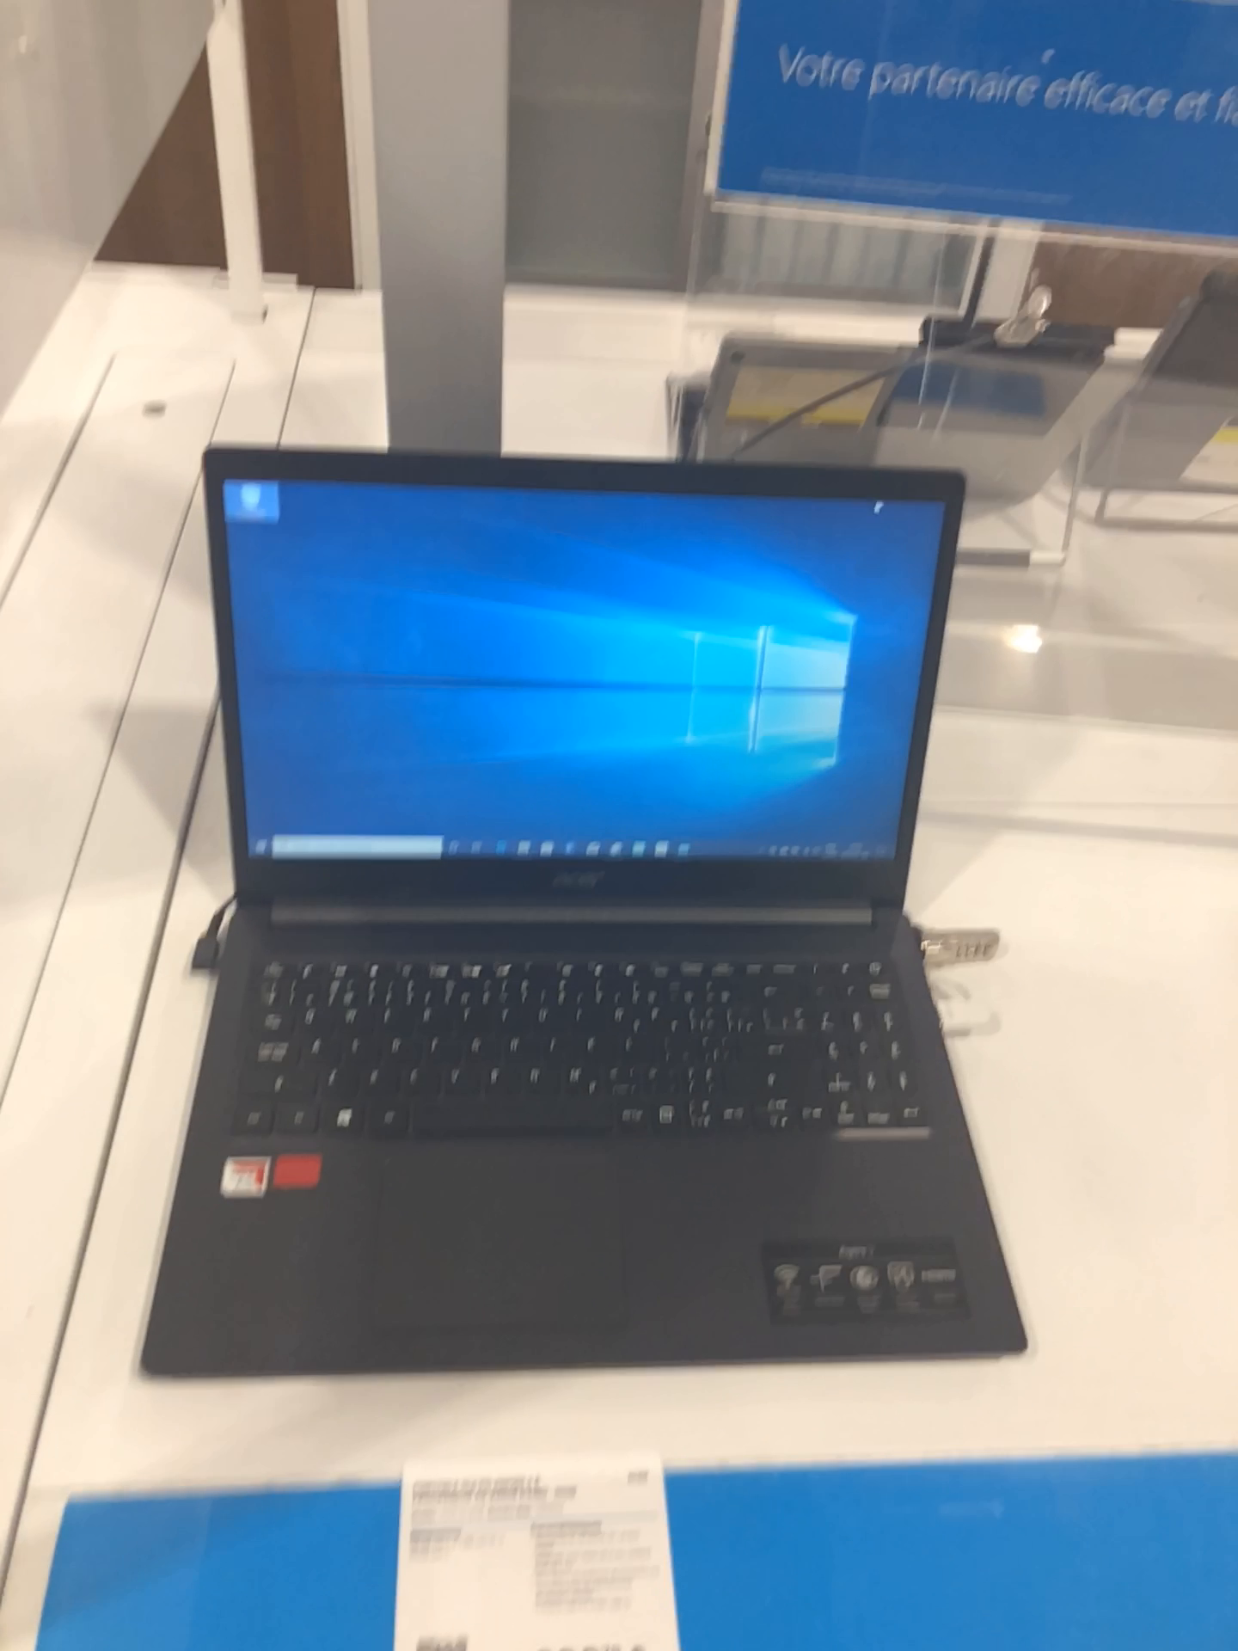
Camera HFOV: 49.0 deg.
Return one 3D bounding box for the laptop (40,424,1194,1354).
[{"bbox_3d":[-0.012,0.017,0.622,0.367,0.212,0.351,1,46,-5],"label":"laptop"}]
